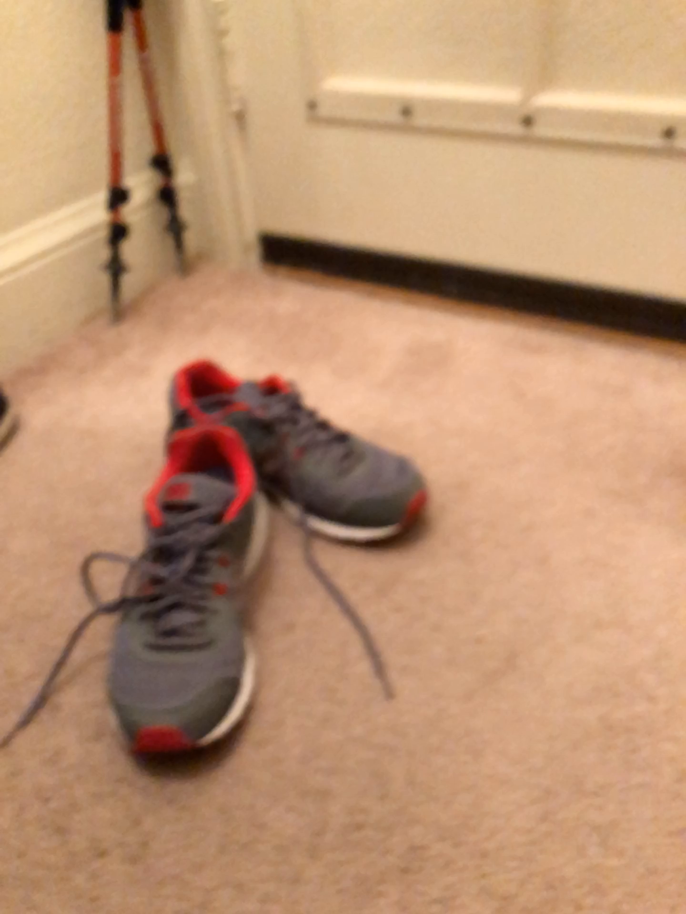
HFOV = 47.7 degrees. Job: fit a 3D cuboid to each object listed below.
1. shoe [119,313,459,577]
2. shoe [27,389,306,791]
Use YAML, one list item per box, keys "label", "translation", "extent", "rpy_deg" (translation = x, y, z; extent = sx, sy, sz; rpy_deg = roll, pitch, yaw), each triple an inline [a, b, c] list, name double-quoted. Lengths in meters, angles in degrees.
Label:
- label: "shoe"
  translation: [-0.052, -0.024, 0.722]
  extent: [0.298, 0.119, 0.114]
  rpy_deg: [21, 45, 30]
- label: "shoe"
  translation: [-0.109, 0.080, 0.595]
  extent: [0.113, 0.119, 0.299]
  rpy_deg: [0, 38, 6]
